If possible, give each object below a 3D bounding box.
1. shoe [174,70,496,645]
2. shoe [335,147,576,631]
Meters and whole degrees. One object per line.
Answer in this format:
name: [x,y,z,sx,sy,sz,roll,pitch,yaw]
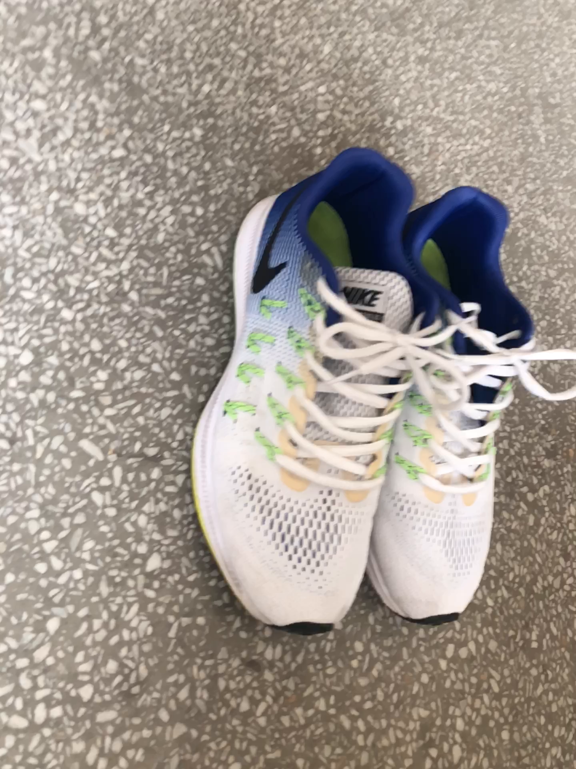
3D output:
shoe: [0.018,-0.007,0.361,0.113,0.114,0.282,11,67,-28]
shoe: [0.115,0.010,0.416,0.111,0.114,0.275,10,67,-29]
